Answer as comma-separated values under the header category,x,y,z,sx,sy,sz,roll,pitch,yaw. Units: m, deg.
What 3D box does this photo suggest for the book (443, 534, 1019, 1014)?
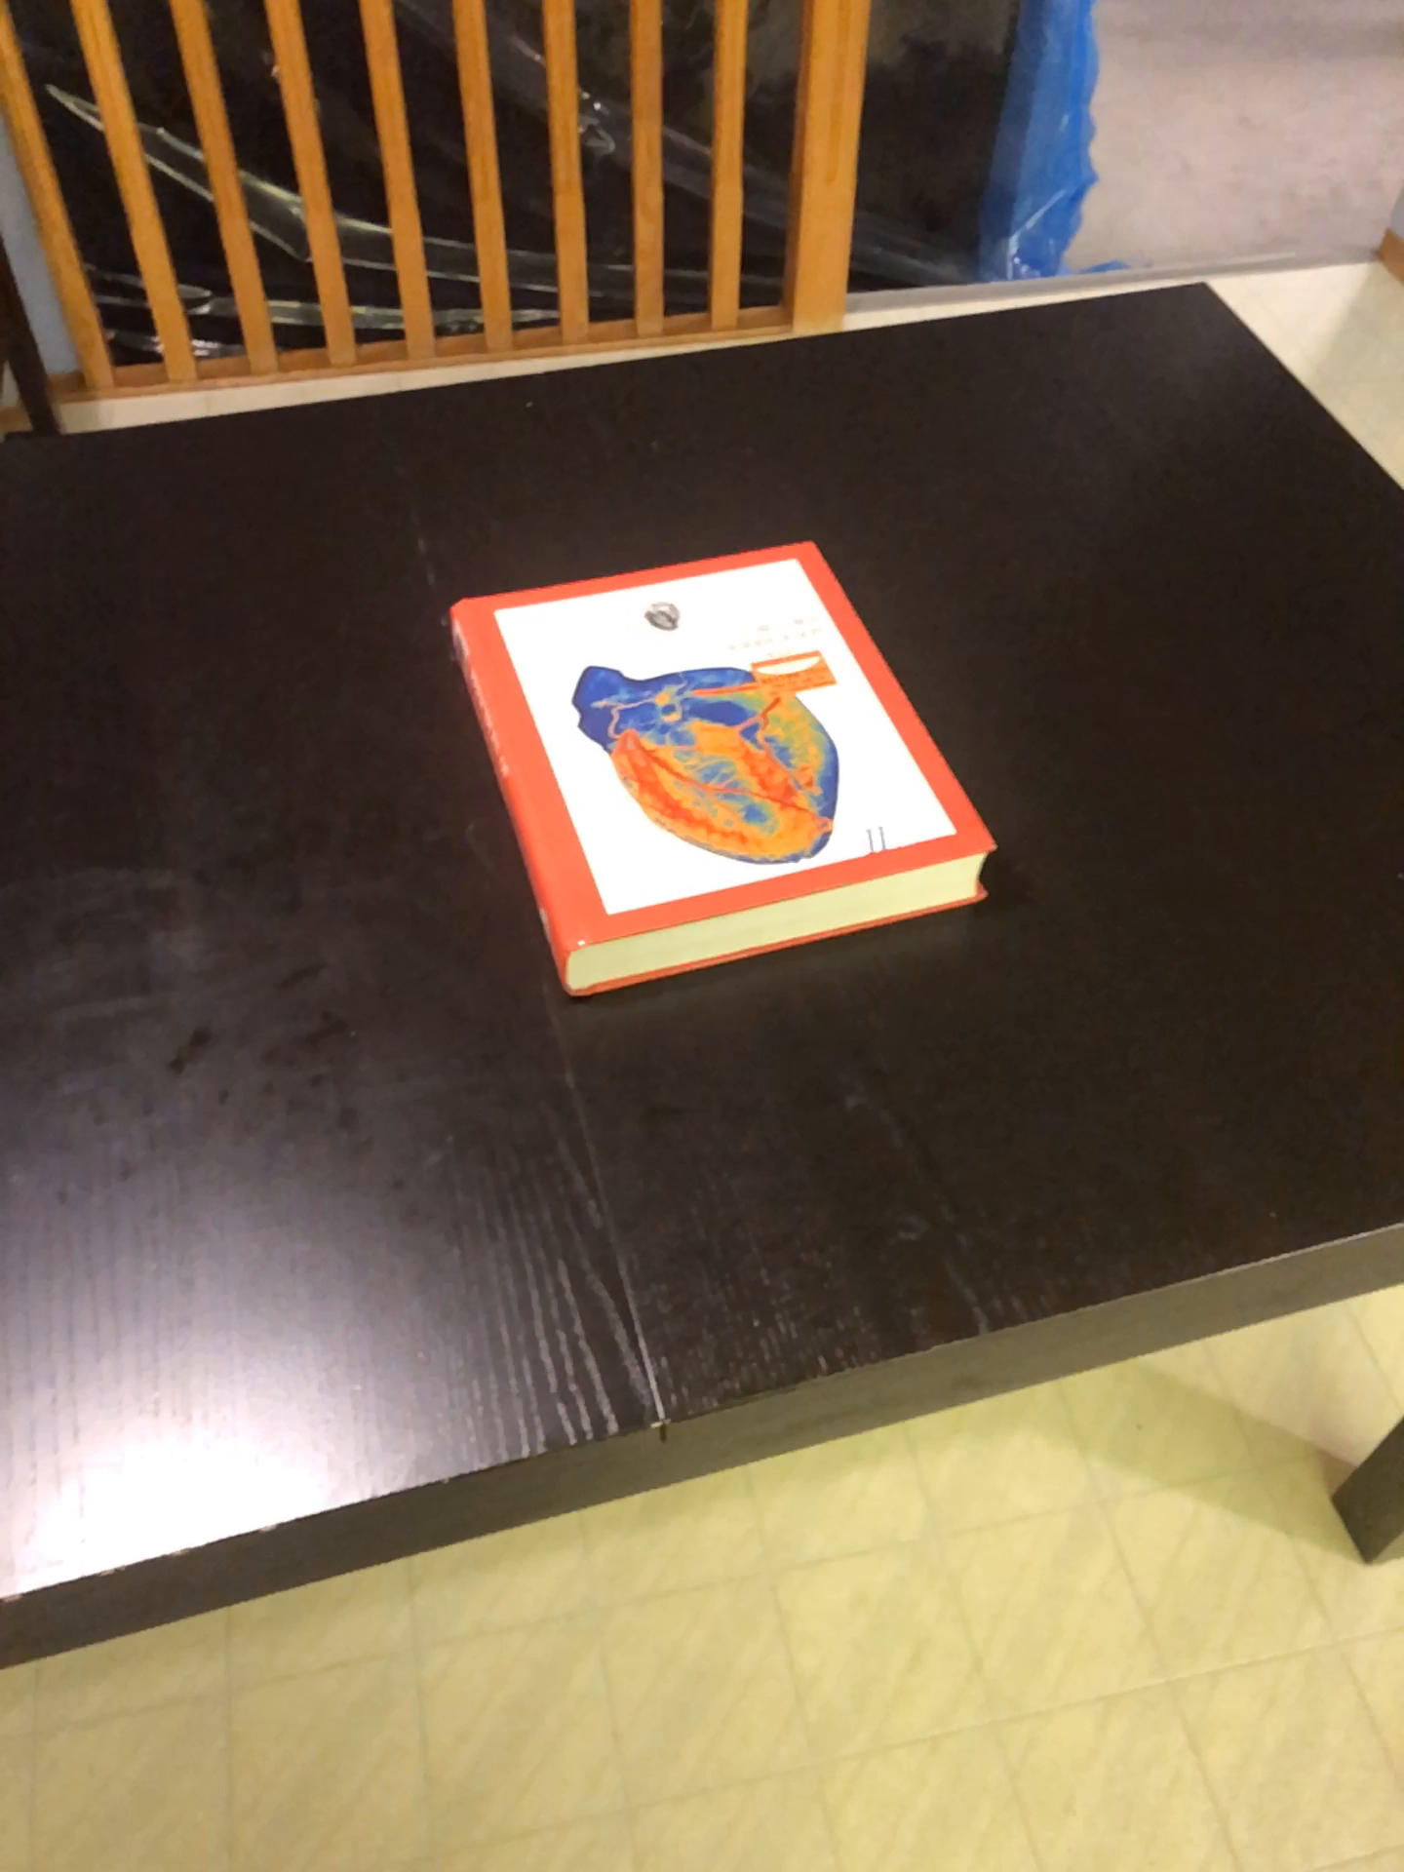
category,x,y,z,sx,sy,sz,roll,pitch,yaw
book,0.005,-0.110,0.914,0.250,0.050,0.291,-14,51,-12
